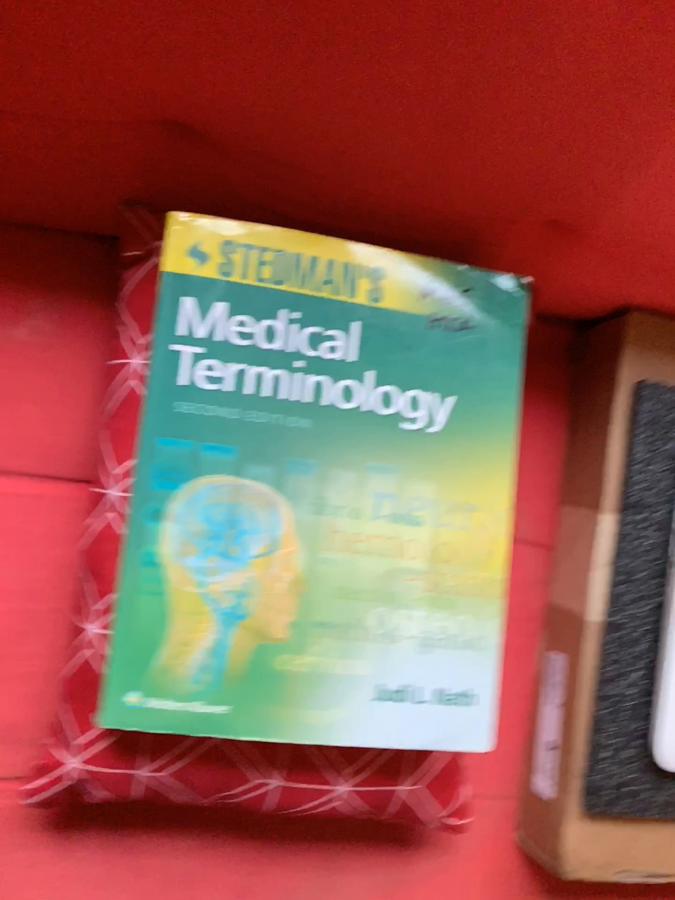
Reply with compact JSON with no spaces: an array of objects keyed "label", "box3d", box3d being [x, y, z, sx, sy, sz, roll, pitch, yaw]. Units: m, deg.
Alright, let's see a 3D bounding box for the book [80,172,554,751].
[{"label":"book","box3d":[-0.003,0.014,0.414,0.240,0.040,0.300,8,85,-13]}]
